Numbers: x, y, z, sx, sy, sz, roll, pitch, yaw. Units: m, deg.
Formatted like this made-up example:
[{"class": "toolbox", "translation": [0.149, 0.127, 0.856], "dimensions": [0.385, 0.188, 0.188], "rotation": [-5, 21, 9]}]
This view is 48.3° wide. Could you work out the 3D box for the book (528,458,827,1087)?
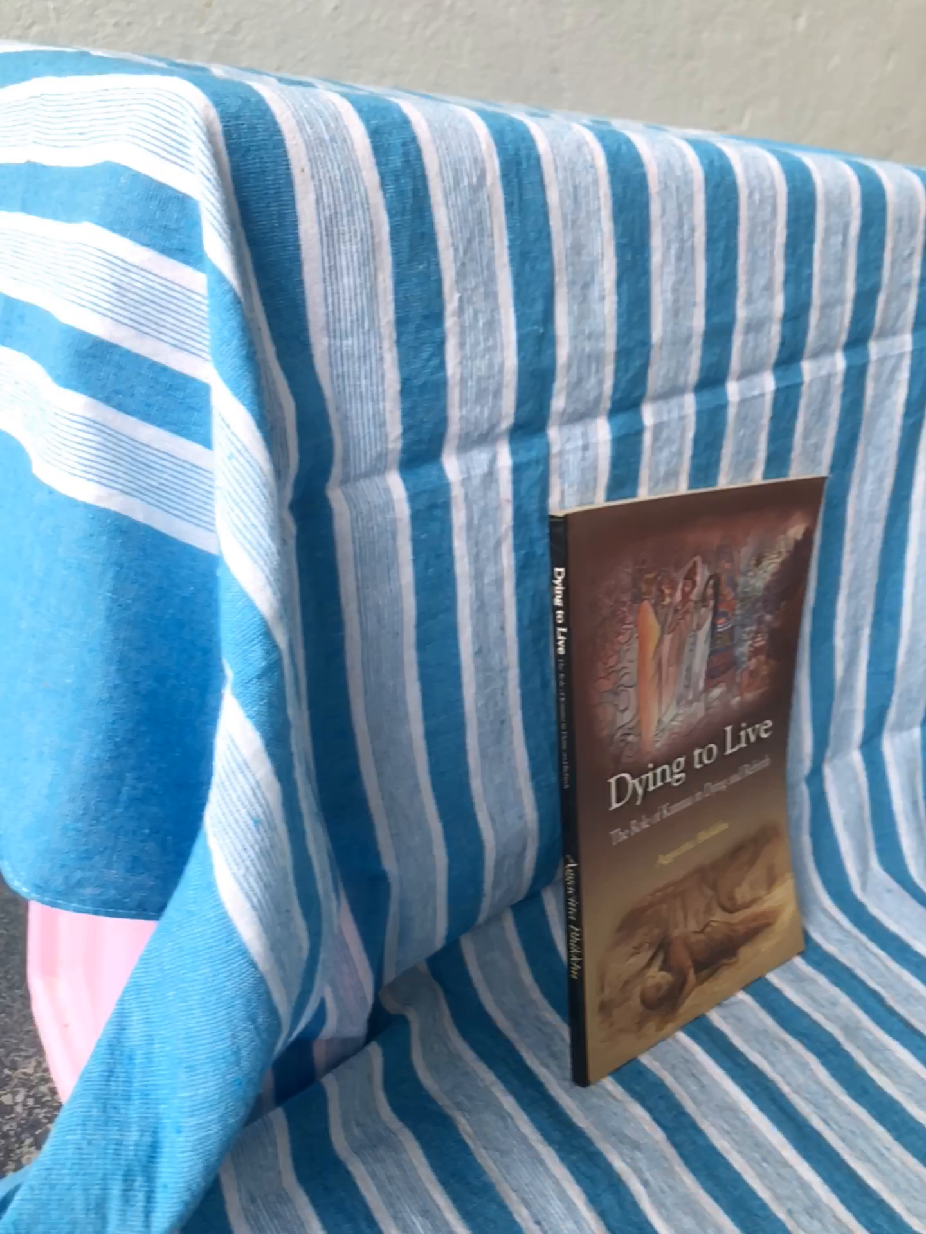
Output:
[{"class": "book", "translation": [0.091, 0.048, 0.401], "dimensions": [0.151, 0.210, 0.020], "rotation": [-11, 11, -40]}]
